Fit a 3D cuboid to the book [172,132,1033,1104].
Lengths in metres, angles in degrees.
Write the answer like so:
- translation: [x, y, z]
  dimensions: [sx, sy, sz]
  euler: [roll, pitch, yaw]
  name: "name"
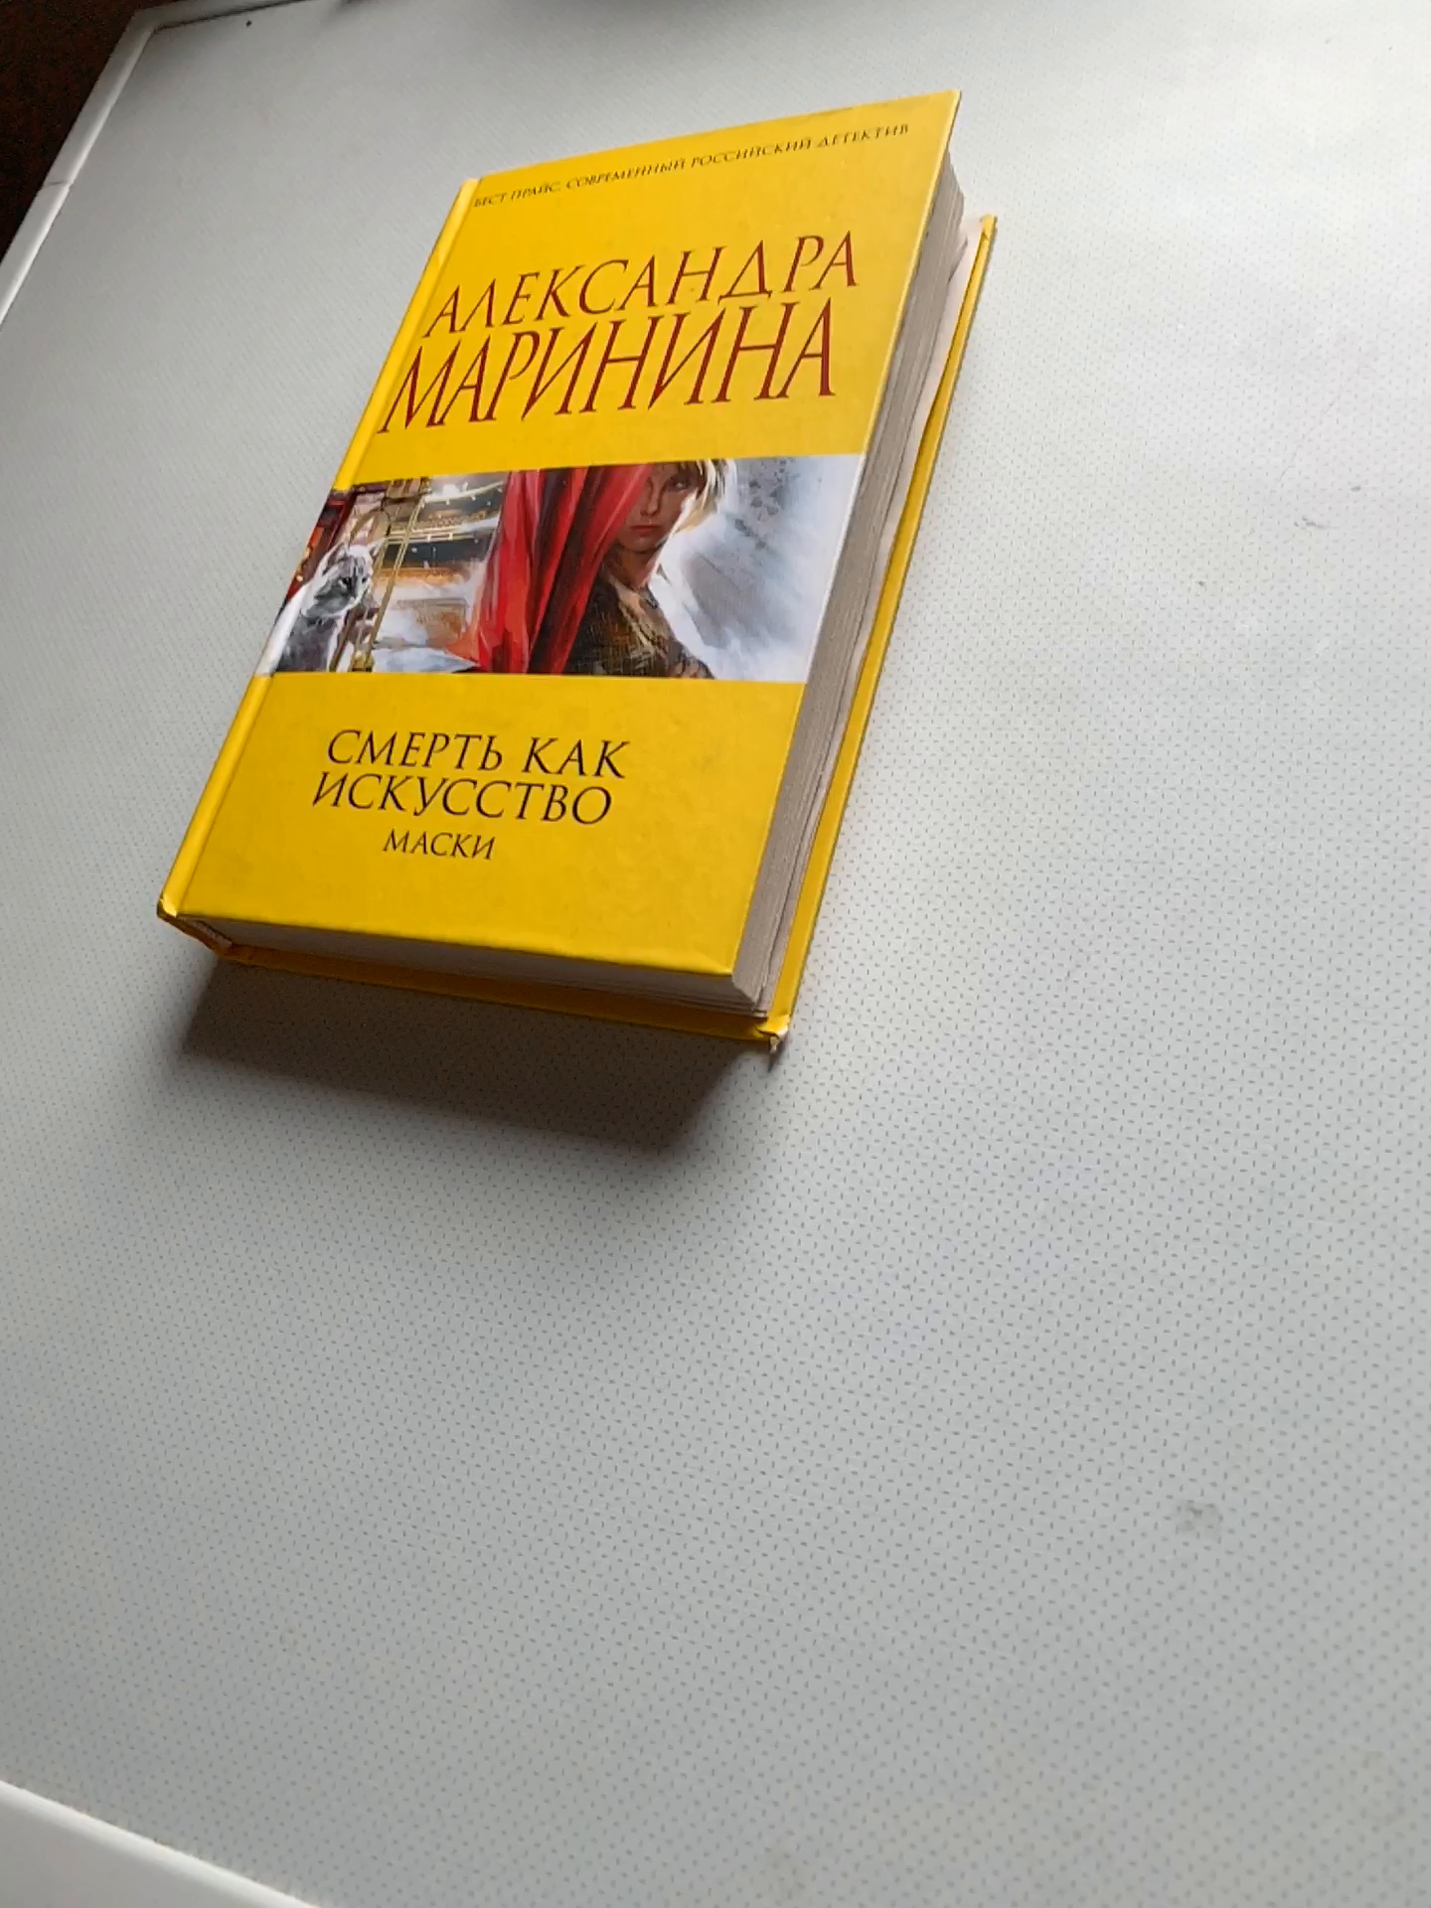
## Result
- translation: [-0.017, -0.073, 0.290]
  dimensions: [0.120, 0.030, 0.189]
  euler: [6, 68, 25]
  name: "book"
